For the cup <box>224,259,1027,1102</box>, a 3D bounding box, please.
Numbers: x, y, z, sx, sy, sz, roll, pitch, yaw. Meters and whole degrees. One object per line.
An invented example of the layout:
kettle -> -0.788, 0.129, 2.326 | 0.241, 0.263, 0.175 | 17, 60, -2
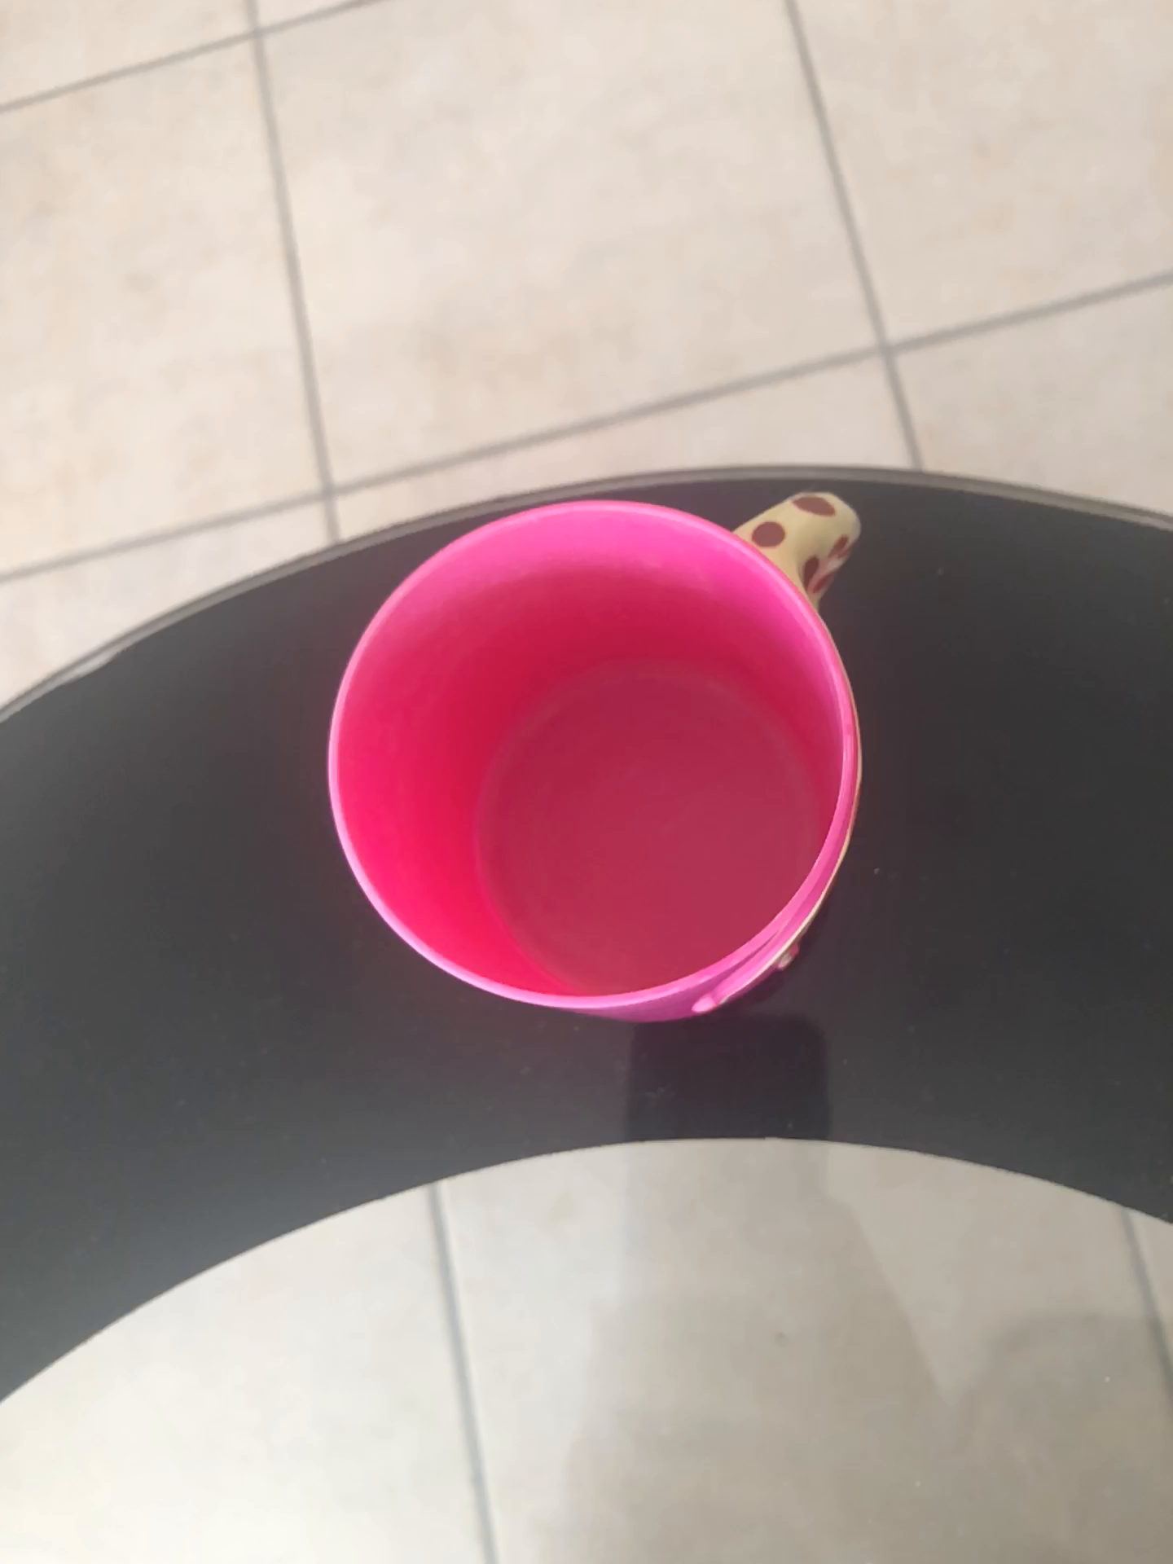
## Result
cup -> 0.010, -0.010, 0.201 | 0.070, 0.070, 0.090 | 24, 83, 14
